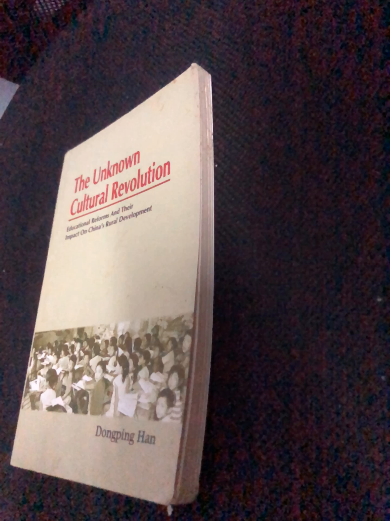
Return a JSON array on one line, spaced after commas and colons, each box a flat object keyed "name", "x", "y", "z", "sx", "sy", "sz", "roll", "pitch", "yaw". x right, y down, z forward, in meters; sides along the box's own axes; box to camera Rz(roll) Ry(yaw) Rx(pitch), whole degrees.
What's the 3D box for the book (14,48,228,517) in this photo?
[{"name": "book", "x": -0.047, "y": 0.009, "z": 0.250, "sx": 0.154, "sy": 0.017, "sz": 0.214, "roll": -13, "pitch": 68, "yaw": 42}]
